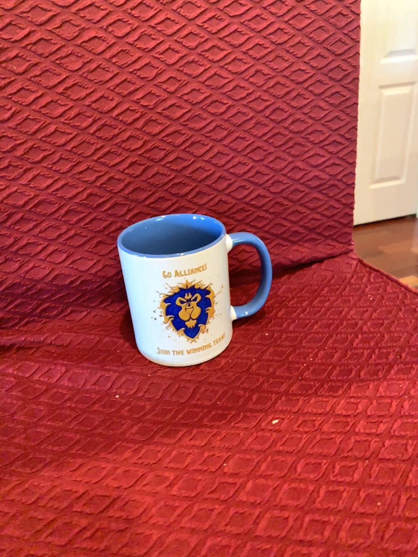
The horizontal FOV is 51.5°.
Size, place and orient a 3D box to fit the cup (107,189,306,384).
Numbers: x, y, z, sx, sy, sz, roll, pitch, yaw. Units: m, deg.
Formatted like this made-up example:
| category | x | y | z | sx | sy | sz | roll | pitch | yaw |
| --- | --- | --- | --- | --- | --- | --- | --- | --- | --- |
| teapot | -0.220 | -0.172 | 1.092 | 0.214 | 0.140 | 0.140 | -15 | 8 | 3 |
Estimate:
| category | x | y | z | sx | sy | sz | roll | pitch | yaw |
| --- | --- | --- | --- | --- | --- | --- | --- | --- | --- |
| cup | -0.005 | -0.001 | 0.351 | 0.130 | 0.099 | 0.101 | -11 | 29 | -11 |
